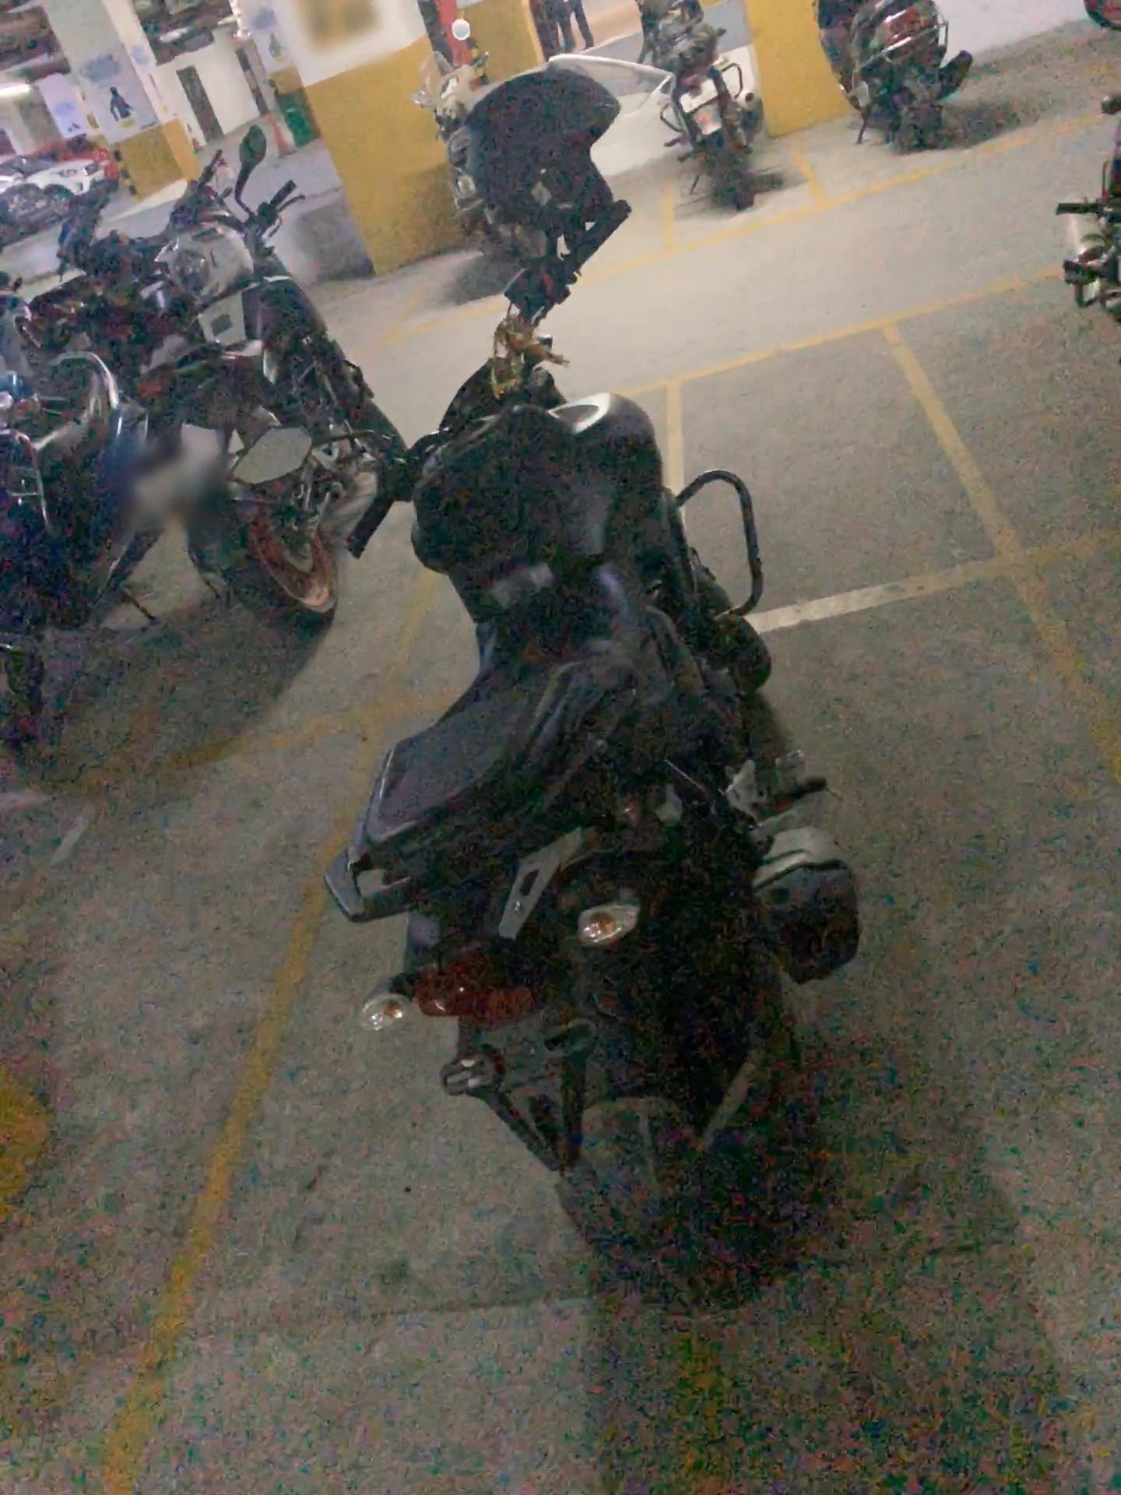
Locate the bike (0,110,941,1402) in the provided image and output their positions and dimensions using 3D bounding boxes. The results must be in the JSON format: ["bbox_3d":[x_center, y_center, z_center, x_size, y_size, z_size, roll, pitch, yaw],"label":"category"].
[{"bbox_3d":[-0.182,-0.167,1.861,0.786,1.096,1.744,-17,36,6],"label":"bike"}]
